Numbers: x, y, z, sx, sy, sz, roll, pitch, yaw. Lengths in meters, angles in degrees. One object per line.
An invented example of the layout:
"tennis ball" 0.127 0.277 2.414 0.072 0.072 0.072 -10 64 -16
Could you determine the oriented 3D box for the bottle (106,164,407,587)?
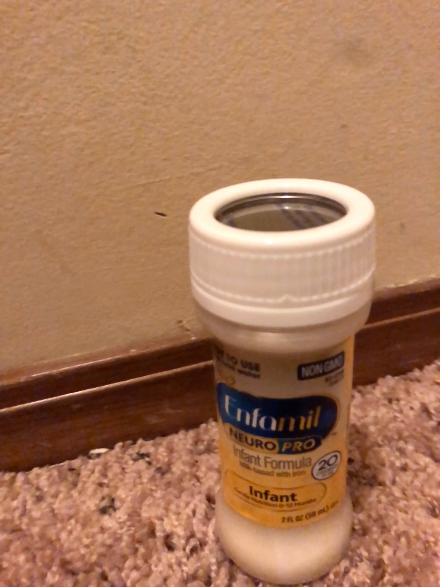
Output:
"bottle" 0.016 0.029 0.128 0.050 0.110 0.050 -4 31 3
